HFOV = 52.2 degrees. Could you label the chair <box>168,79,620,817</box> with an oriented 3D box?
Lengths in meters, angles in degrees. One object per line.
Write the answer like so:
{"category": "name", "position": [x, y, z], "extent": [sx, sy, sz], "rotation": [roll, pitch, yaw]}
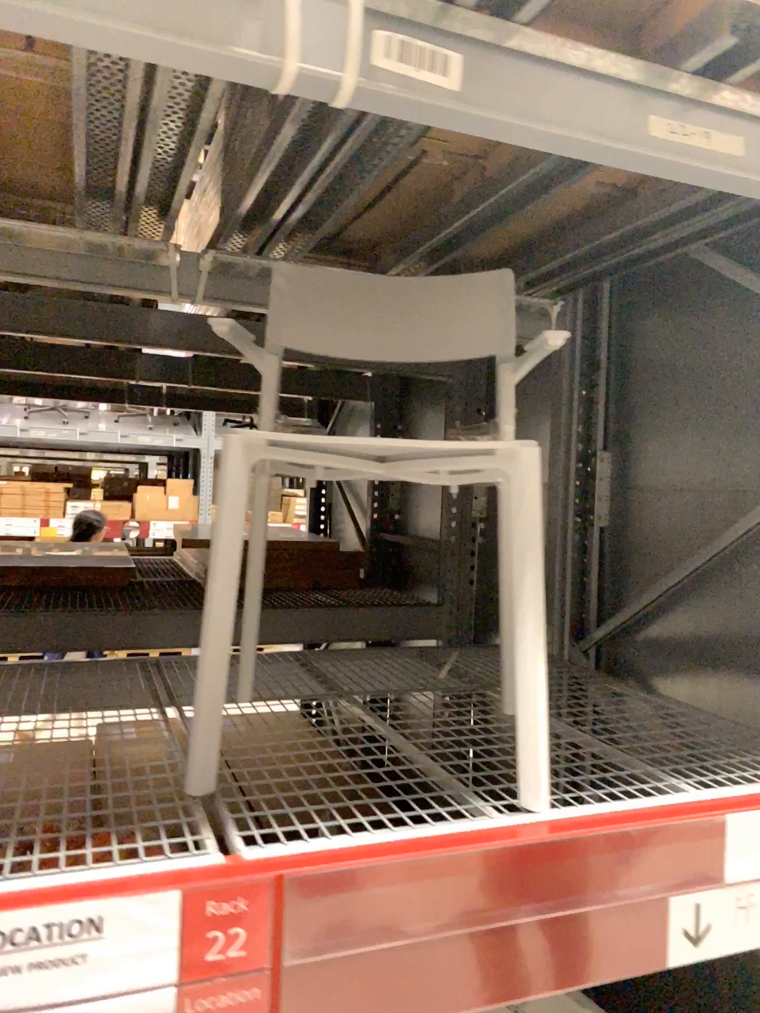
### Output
{"category": "chair", "position": [0.010, -0.068, 1.159], "extent": [0.480, 0.820, 0.550], "rotation": [3, 0, -2]}
